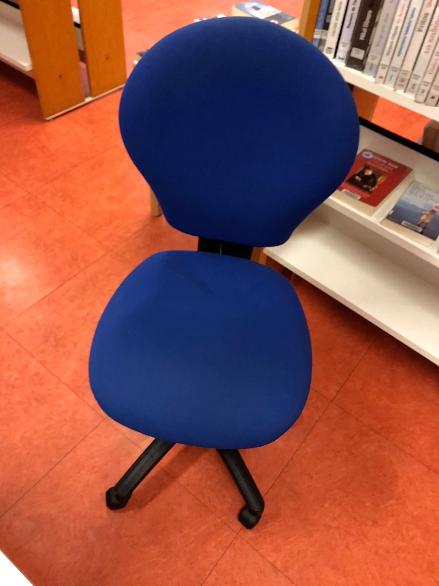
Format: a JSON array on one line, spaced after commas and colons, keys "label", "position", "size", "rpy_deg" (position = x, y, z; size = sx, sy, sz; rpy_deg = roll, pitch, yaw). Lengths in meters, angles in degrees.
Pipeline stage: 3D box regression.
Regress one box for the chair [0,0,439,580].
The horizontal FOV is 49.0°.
[{"label": "chair", "position": [-0.026, 0.048, 0.988], "size": [0.660, 0.915, 0.624], "rpy_deg": [15, 50, 7]}]
